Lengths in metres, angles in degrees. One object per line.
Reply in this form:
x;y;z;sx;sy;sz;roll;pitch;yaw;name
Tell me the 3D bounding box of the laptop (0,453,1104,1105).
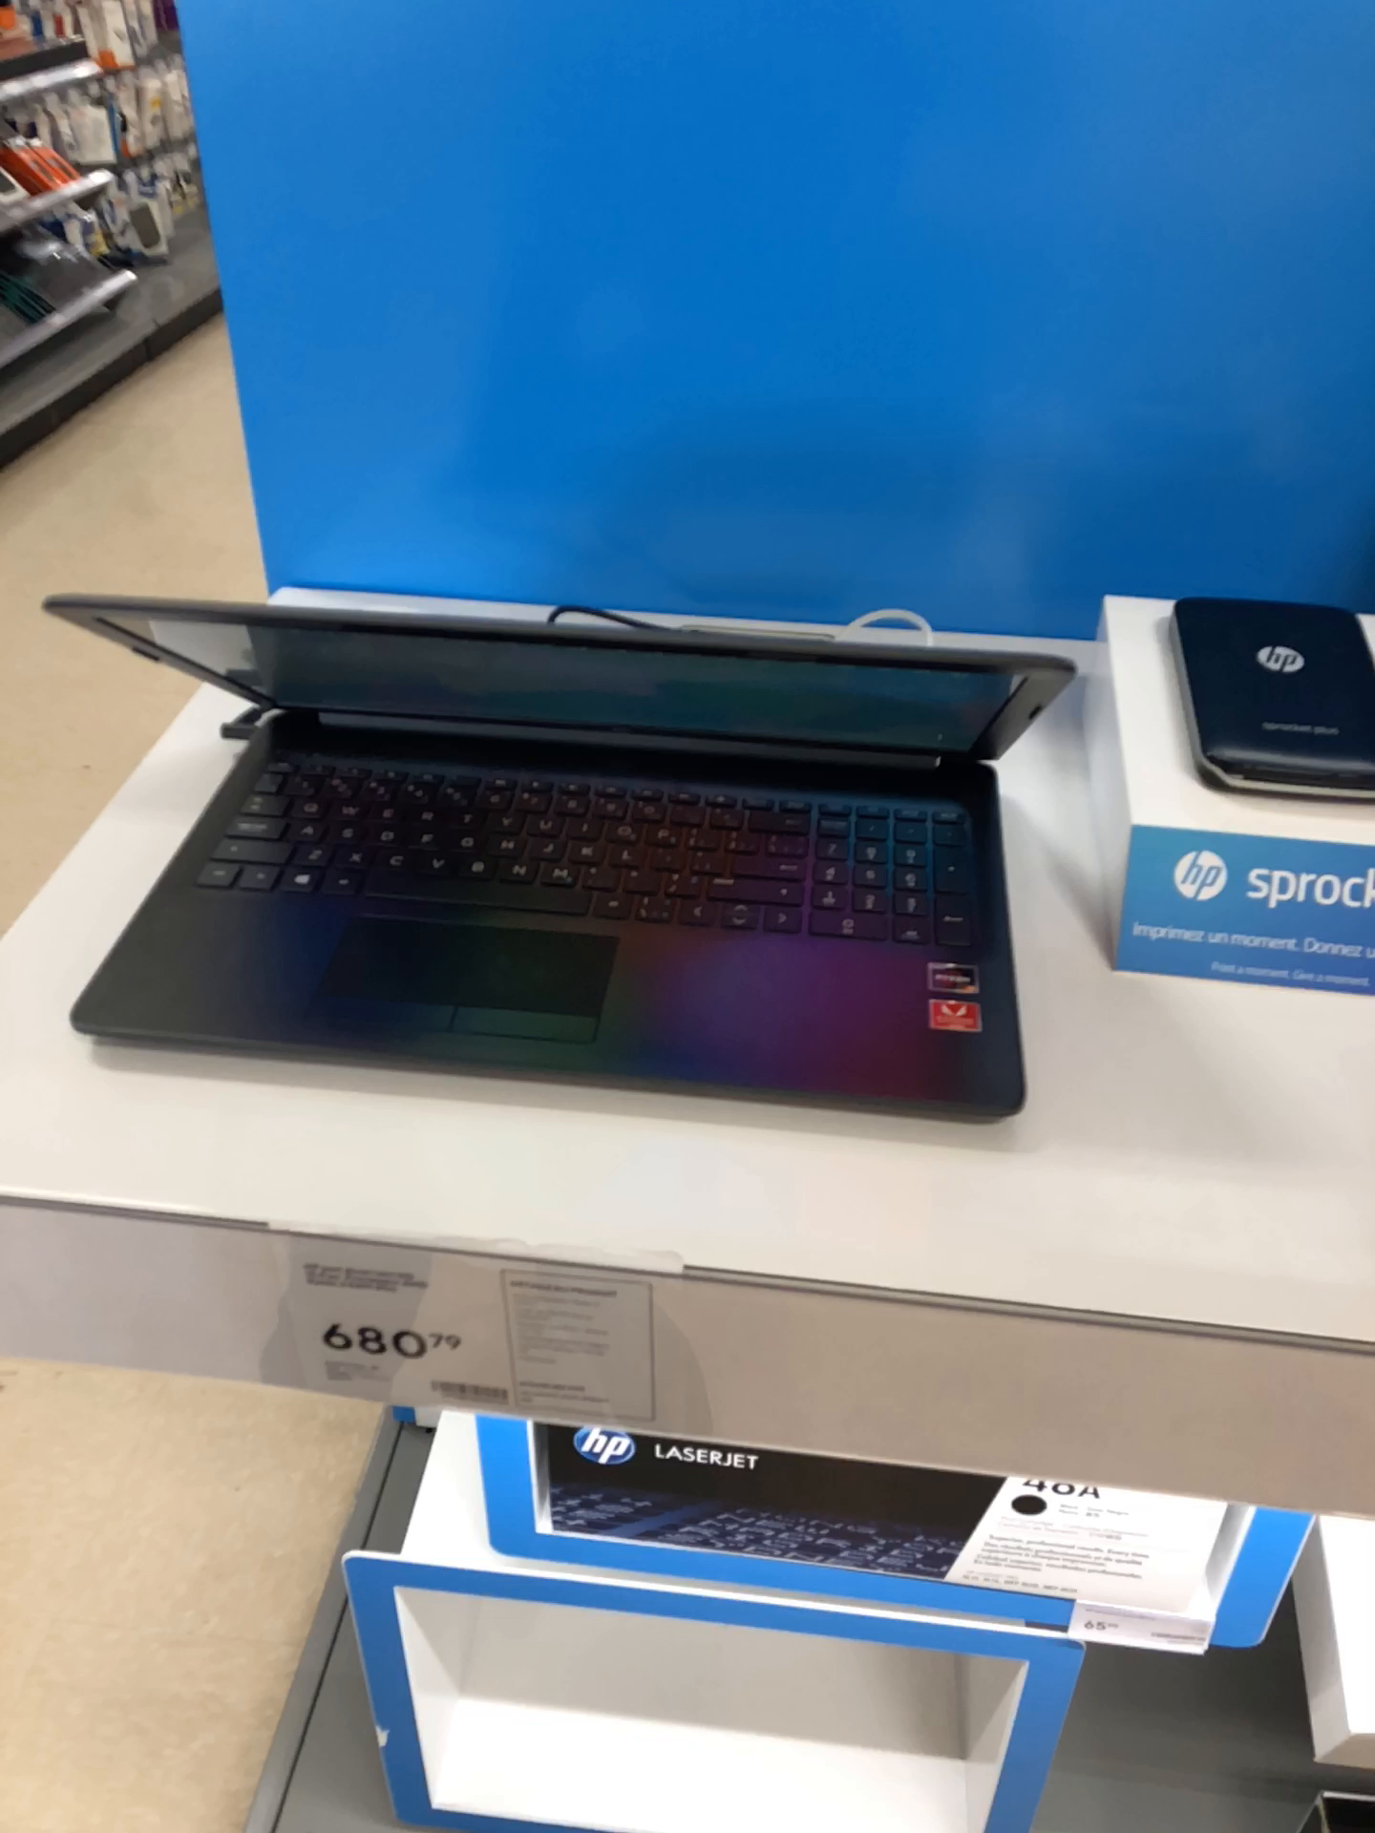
-0.039;-0.070;0.604;0.355;0.130;0.243;5;36;2;laptop
